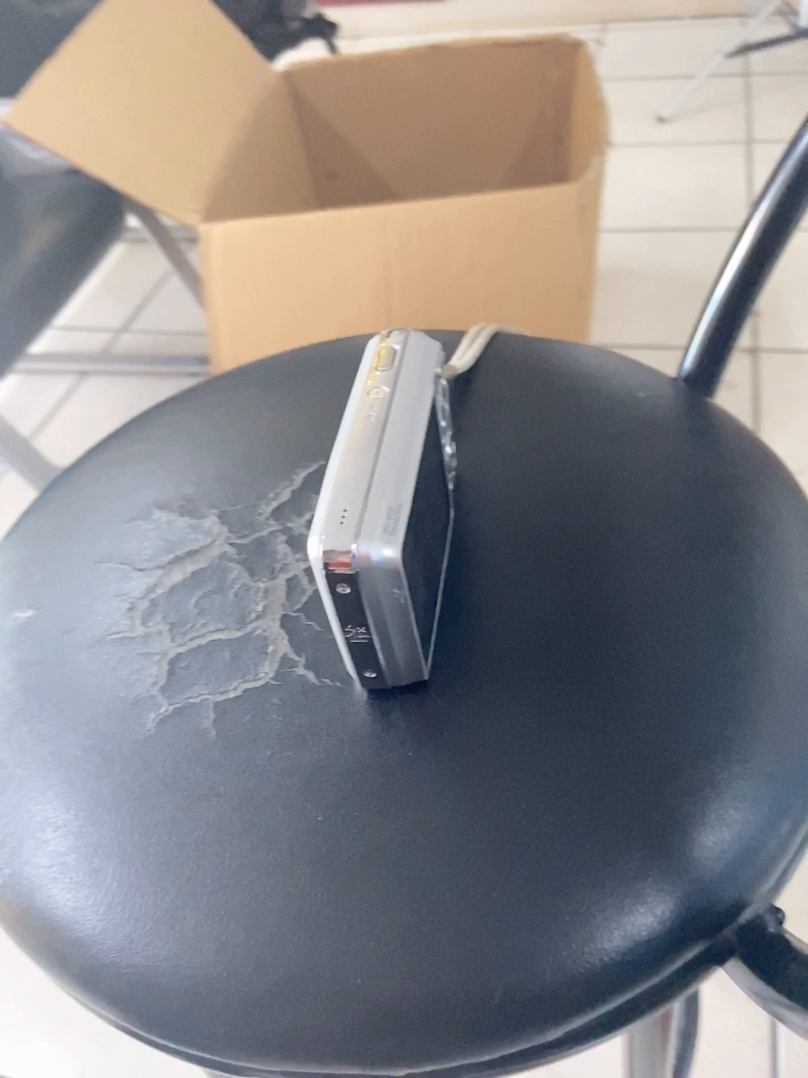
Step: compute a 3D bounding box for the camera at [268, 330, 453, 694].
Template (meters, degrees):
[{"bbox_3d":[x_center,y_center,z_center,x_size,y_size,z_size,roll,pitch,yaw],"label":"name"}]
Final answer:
[{"bbox_3d":[-0.007,-0.011,0.227,0.026,0.044,0.093,1,47,11],"label":"camera"}]
